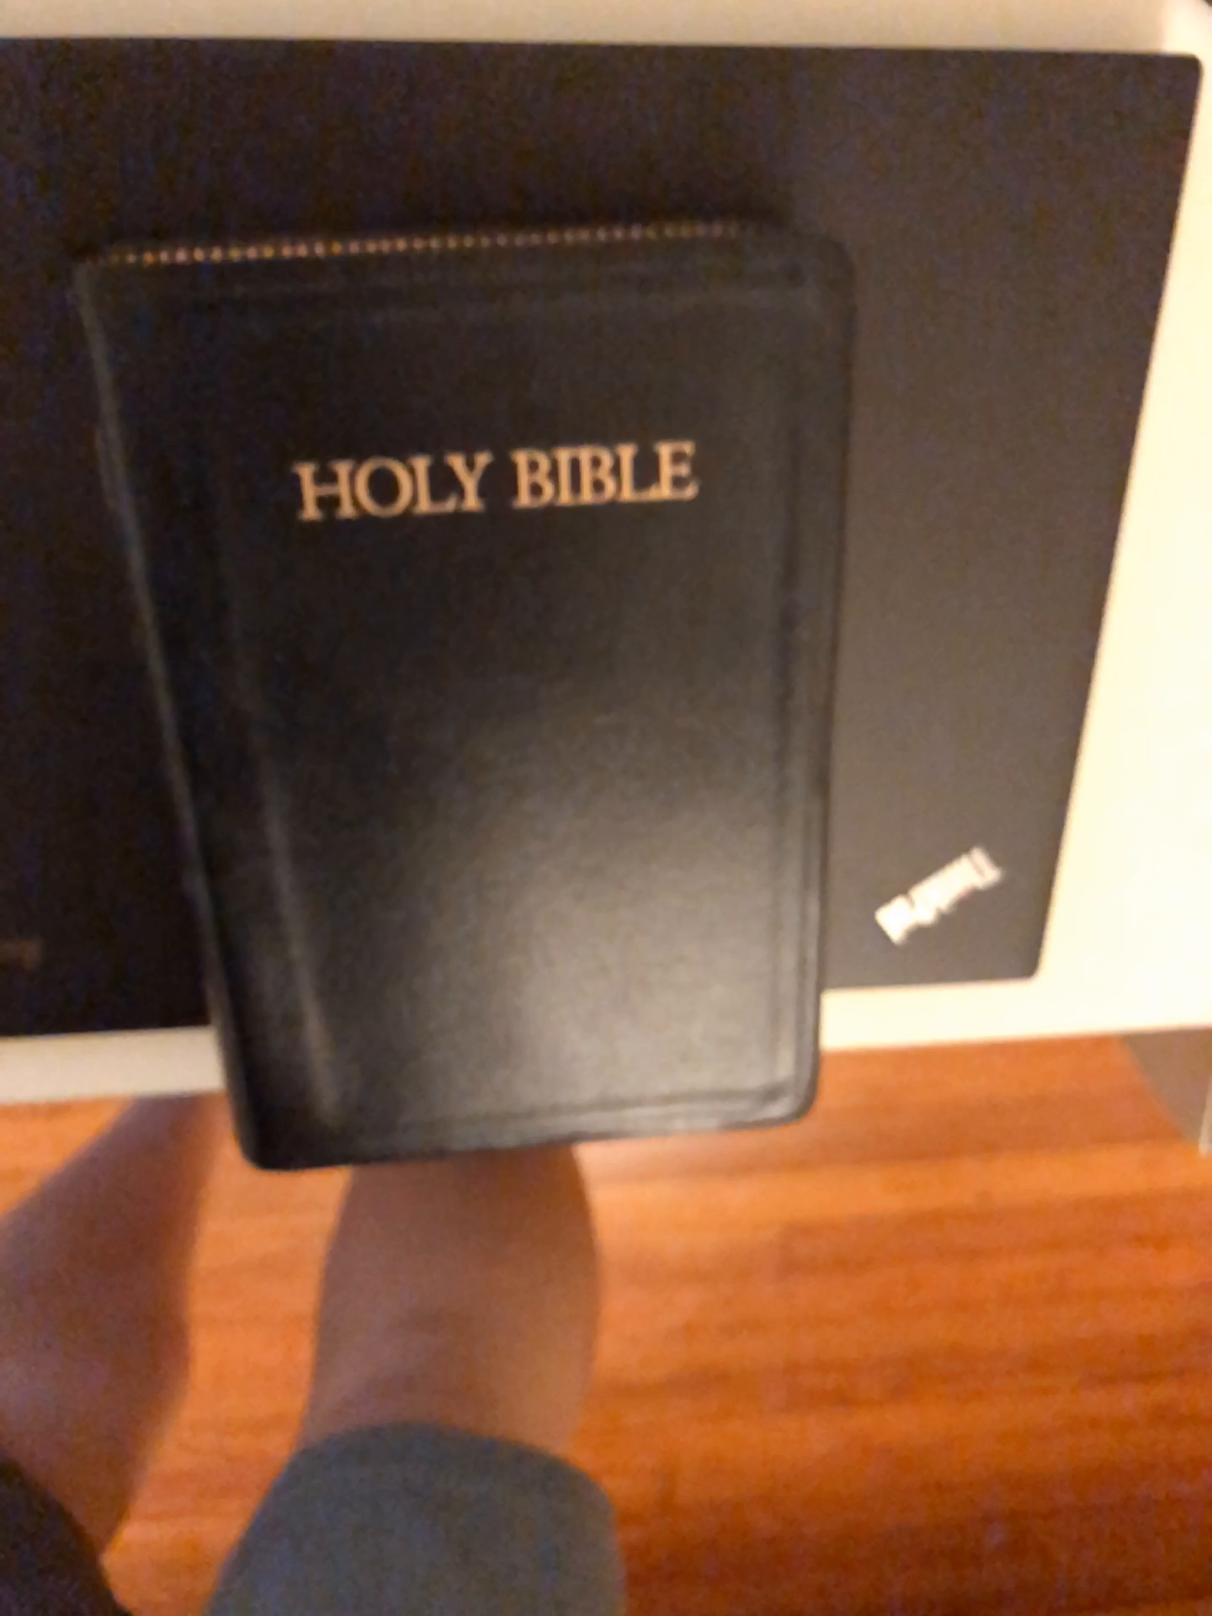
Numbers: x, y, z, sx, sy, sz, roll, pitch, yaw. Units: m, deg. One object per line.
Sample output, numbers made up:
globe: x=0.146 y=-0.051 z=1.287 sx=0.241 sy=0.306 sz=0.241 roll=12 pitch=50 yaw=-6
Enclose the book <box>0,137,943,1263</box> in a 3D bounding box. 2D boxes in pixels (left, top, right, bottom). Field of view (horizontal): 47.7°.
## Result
book: x=-0.024 y=-0.012 z=0.304 sx=0.170 sy=0.040 sz=0.240 roll=-4 pitch=116 yaw=-5
